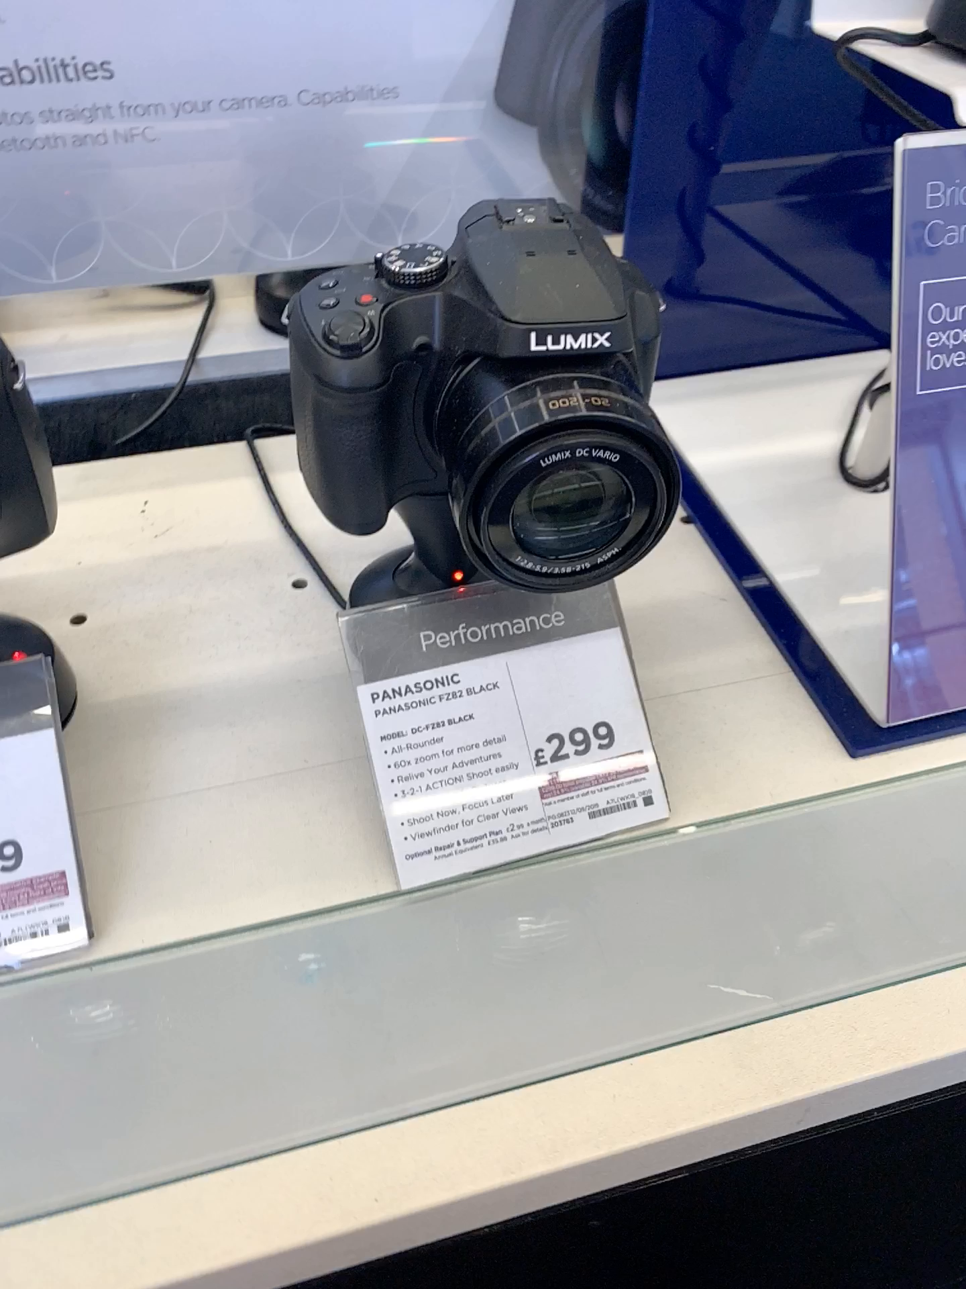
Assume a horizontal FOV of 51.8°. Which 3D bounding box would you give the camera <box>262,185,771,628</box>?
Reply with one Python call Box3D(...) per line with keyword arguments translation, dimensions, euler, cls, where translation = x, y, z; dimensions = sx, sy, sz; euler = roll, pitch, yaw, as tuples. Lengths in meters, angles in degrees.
Box3D(translation=(0.001, -0.084, 0.328), dimensions=(0.130, 0.079, 0.121), euler=(-8, 45, -9), cls="camera")
